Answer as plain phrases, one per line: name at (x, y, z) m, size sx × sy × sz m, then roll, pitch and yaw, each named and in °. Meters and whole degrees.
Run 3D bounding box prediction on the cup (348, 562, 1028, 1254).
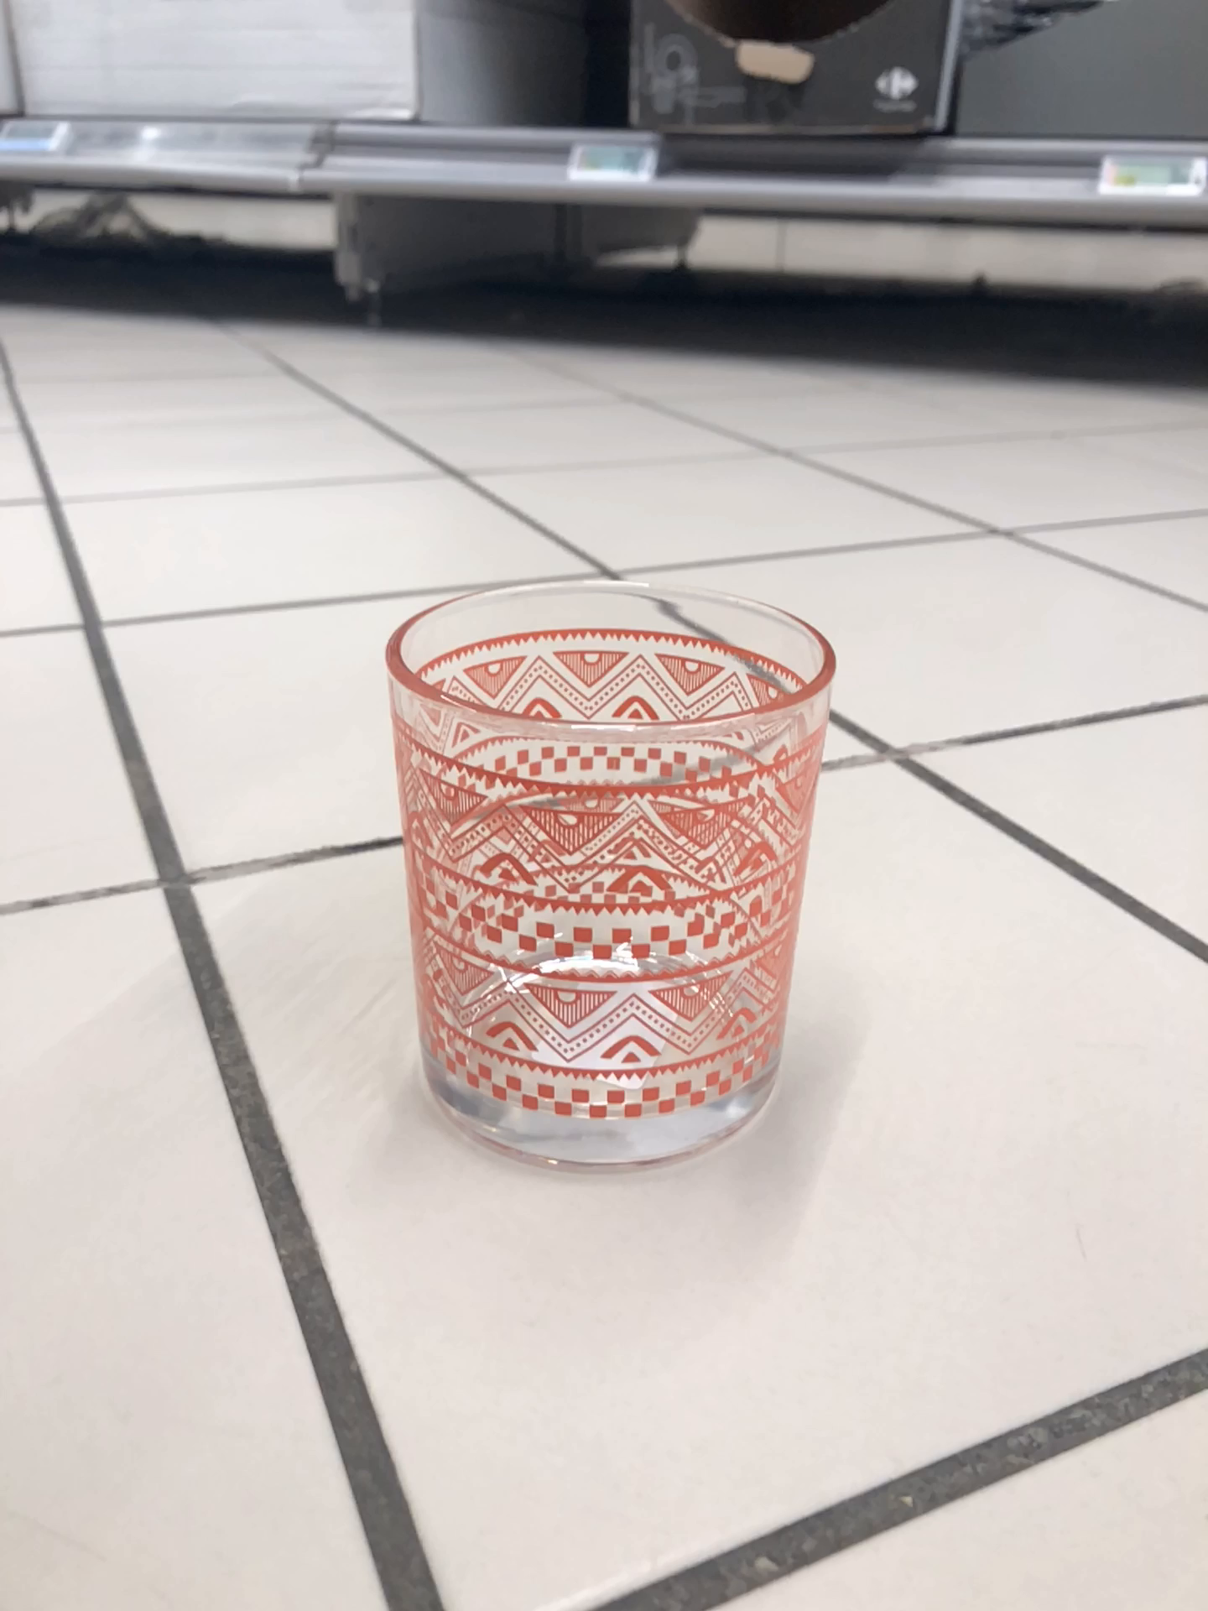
cup at (0.008, 0.010, 0.231) m, size 0.084 × 0.078 × 0.078 m, roll 1°, pitch 25°, yaw -1°
